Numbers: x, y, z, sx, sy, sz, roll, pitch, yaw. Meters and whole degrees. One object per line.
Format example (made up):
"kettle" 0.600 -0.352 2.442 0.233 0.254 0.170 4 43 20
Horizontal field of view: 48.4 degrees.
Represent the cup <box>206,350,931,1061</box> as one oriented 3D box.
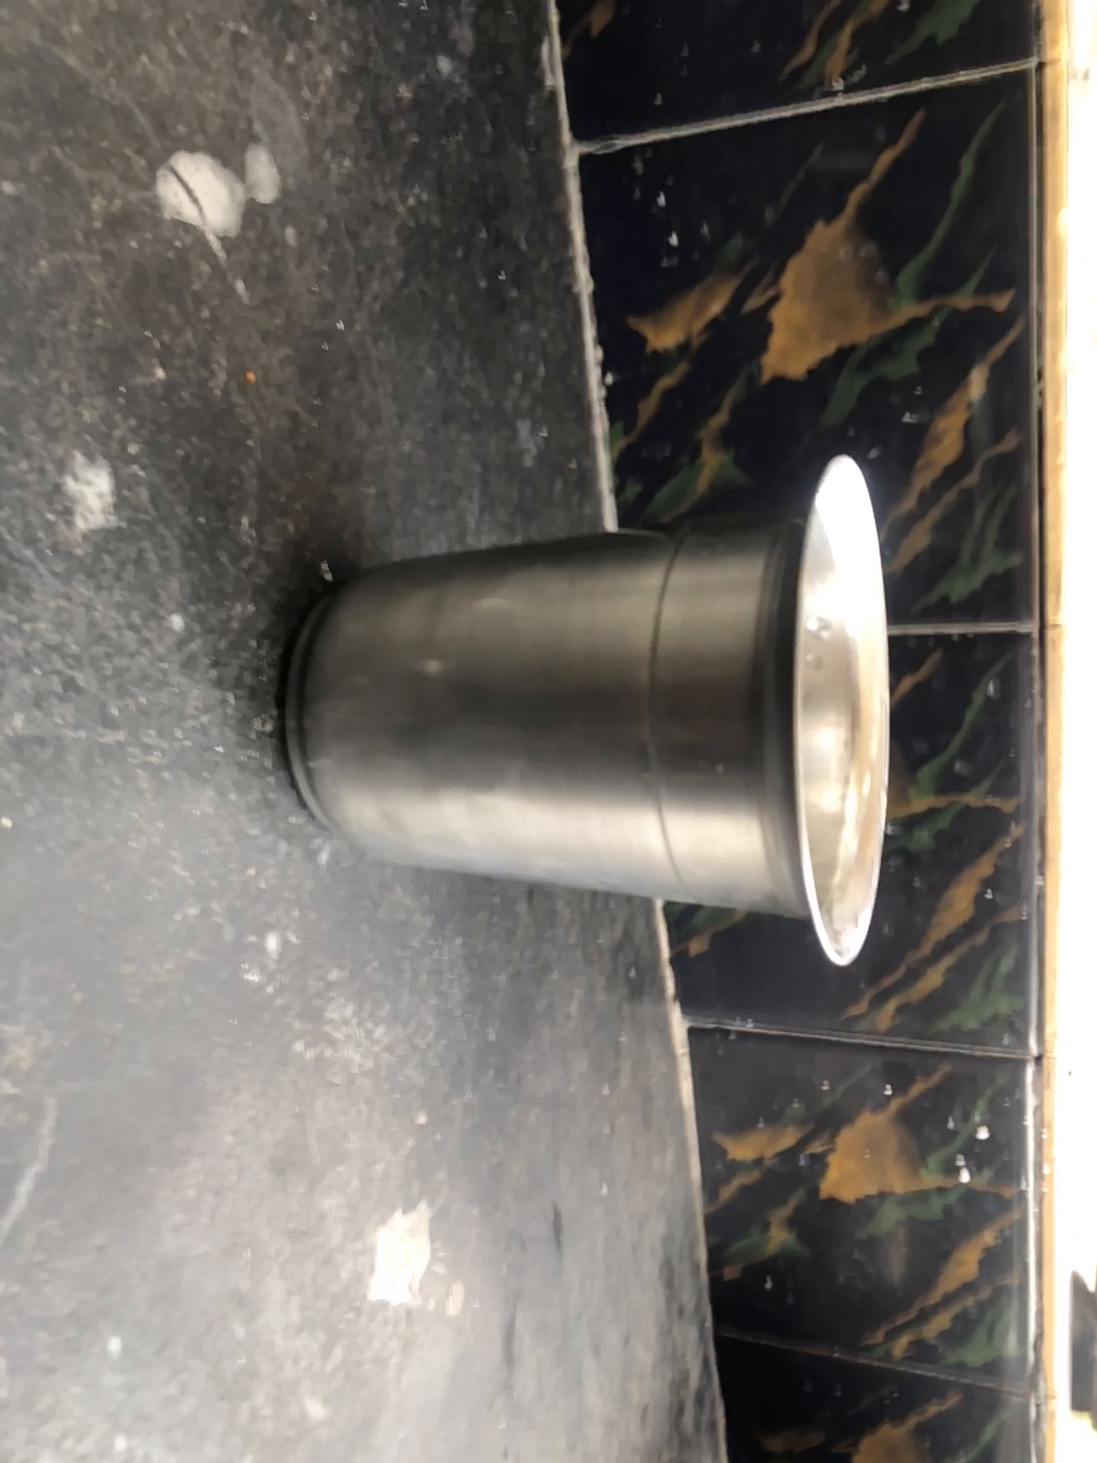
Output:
"cup" 0.016 -0.006 0.236 0.090 0.099 0.090 0 90 -68
